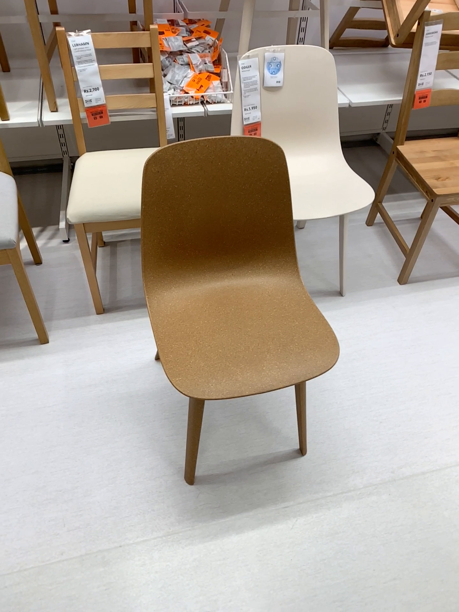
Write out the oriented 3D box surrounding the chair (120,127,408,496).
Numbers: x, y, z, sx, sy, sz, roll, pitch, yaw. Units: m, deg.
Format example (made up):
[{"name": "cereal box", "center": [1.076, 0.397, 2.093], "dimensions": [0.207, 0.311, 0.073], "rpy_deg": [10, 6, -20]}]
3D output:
[{"name": "chair", "center": [0.011, 0.027, 1.255], "dimensions": [0.460, 0.757, 0.562], "rpy_deg": [-9, 47, -12]}]
